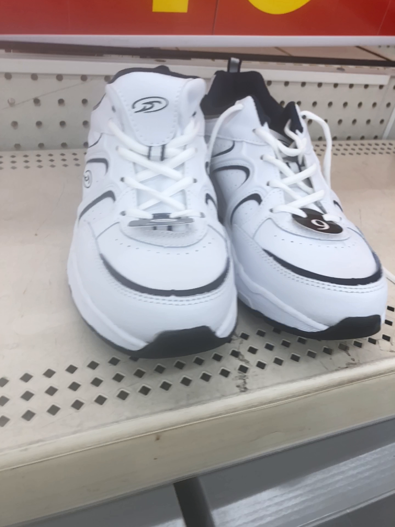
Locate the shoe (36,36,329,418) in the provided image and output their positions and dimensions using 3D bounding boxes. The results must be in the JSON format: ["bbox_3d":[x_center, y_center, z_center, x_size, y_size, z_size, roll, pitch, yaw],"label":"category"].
[{"bbox_3d":[-0.034,-0.052,0.298,0.110,0.120,0.261,-2,39,-13],"label":"shoe"}]

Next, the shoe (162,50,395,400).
[{"bbox_3d":[0.059,-0.054,0.326,0.110,0.120,0.261,-4,40,-16],"label":"shoe"}]
